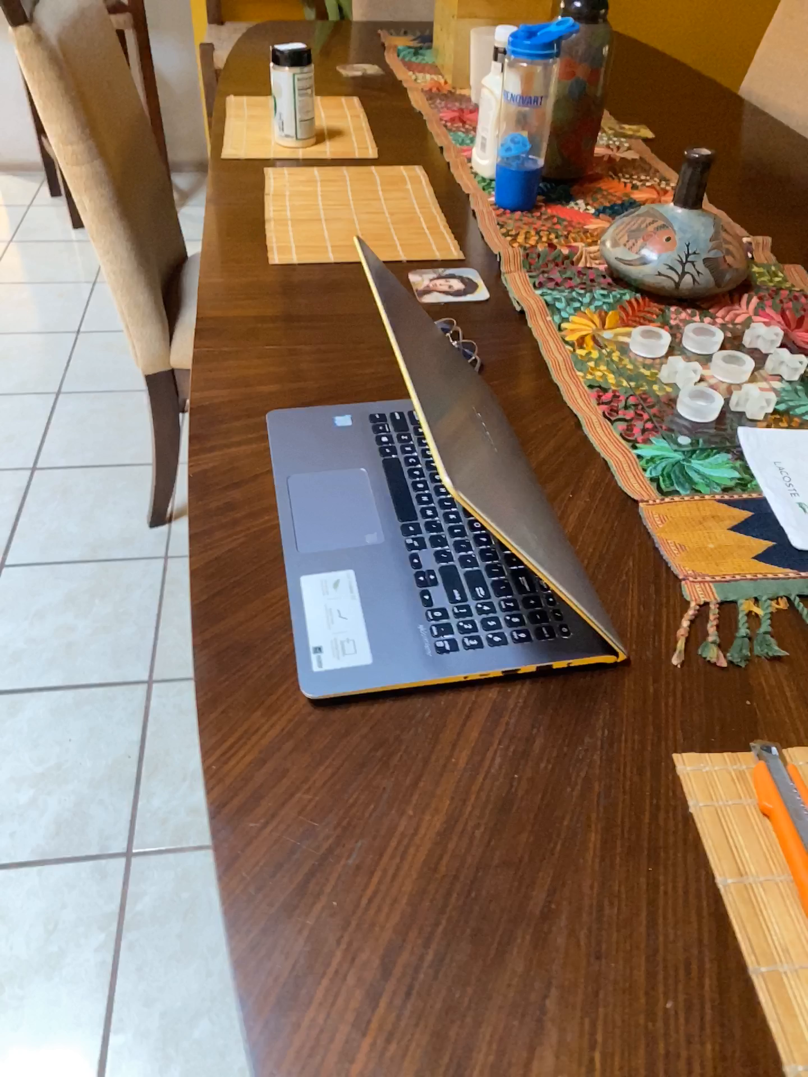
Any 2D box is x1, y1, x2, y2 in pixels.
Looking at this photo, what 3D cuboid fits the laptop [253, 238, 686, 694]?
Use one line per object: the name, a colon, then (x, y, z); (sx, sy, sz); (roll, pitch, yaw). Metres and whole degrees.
laptop: (0.017, -0.089, 0.708); (0.250, 0.180, 0.378); (-6, 43, -10)
